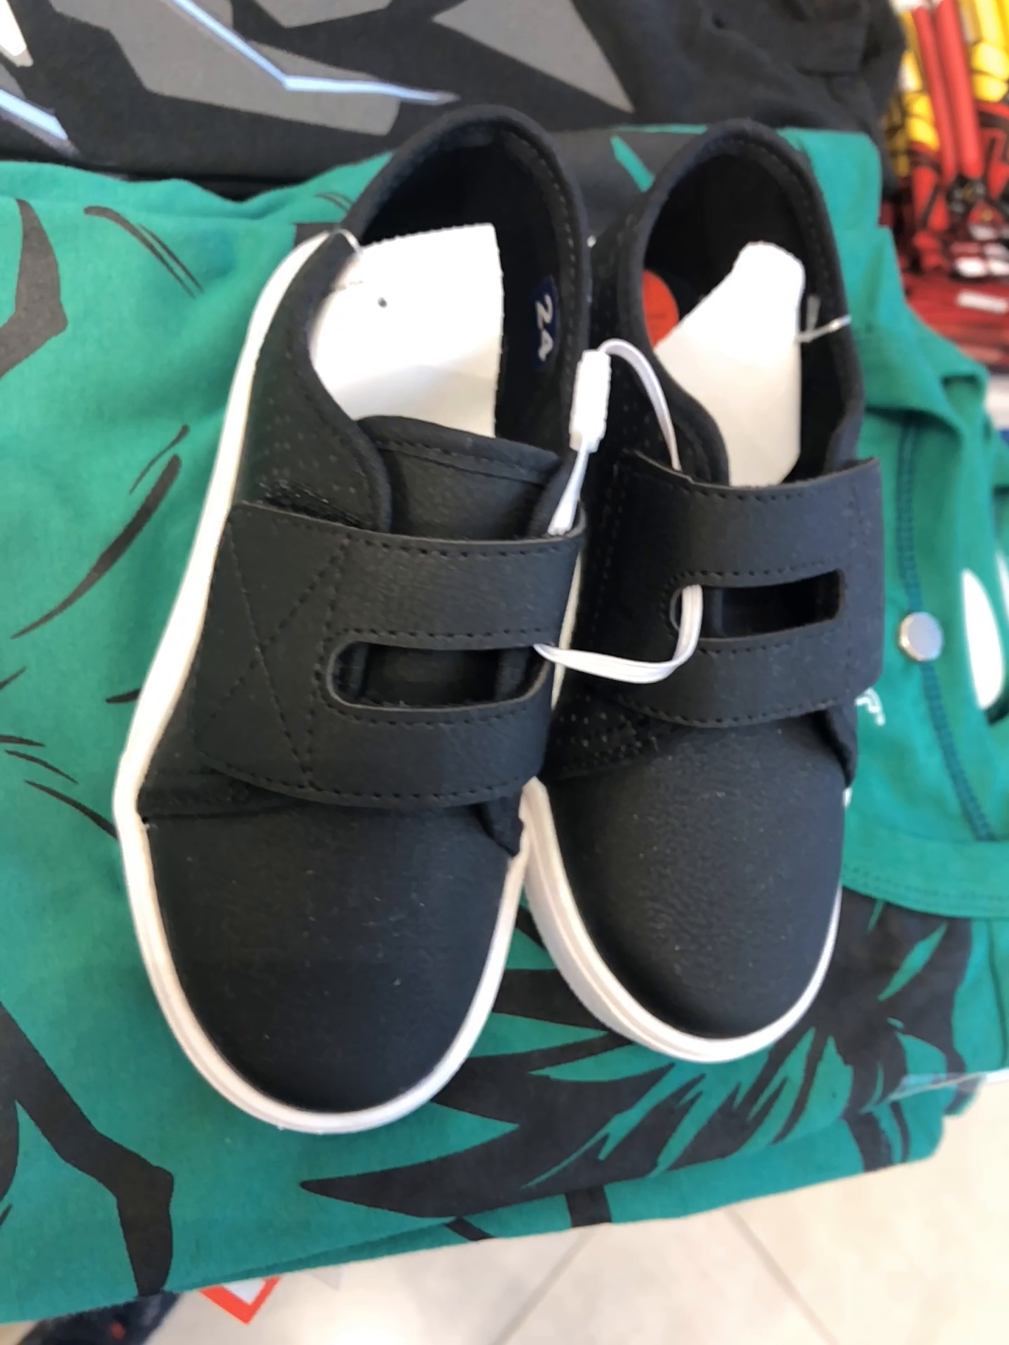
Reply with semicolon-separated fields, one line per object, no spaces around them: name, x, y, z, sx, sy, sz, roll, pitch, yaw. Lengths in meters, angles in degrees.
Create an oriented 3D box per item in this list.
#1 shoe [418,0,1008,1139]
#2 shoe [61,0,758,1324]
shoe;0.044;-0.015;0.224;0.090;0.090;0.170;1;82;-25
shoe;-0.019;-0.003;0.193;0.080;0.090;0.170;8;79;-24
